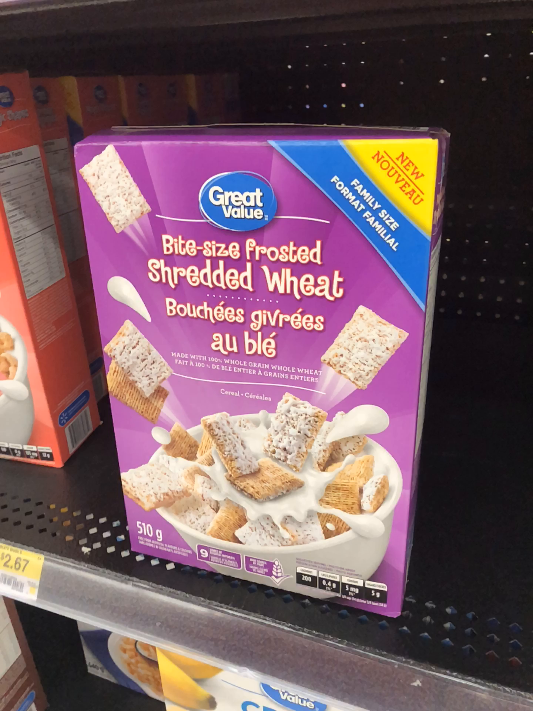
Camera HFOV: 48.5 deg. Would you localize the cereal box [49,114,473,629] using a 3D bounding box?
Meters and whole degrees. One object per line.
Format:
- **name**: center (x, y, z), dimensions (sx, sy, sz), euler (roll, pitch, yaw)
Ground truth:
- **cereal box**: center (-0.002, 0.006, 0.361), dimensions (0.210, 0.279, 0.070), euler (7, 24, 20)
